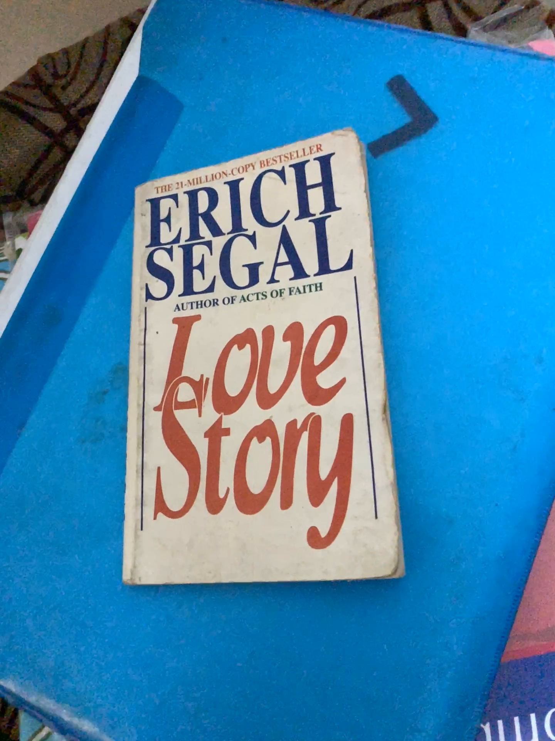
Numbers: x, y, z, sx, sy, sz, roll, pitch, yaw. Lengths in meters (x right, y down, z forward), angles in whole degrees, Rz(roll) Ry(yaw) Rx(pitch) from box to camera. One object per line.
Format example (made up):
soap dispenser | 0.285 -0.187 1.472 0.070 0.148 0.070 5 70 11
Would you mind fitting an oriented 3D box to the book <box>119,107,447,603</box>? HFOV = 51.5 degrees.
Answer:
book | -0.003 -0.009 0.223 0.110 0.020 0.180 -6 74 12
